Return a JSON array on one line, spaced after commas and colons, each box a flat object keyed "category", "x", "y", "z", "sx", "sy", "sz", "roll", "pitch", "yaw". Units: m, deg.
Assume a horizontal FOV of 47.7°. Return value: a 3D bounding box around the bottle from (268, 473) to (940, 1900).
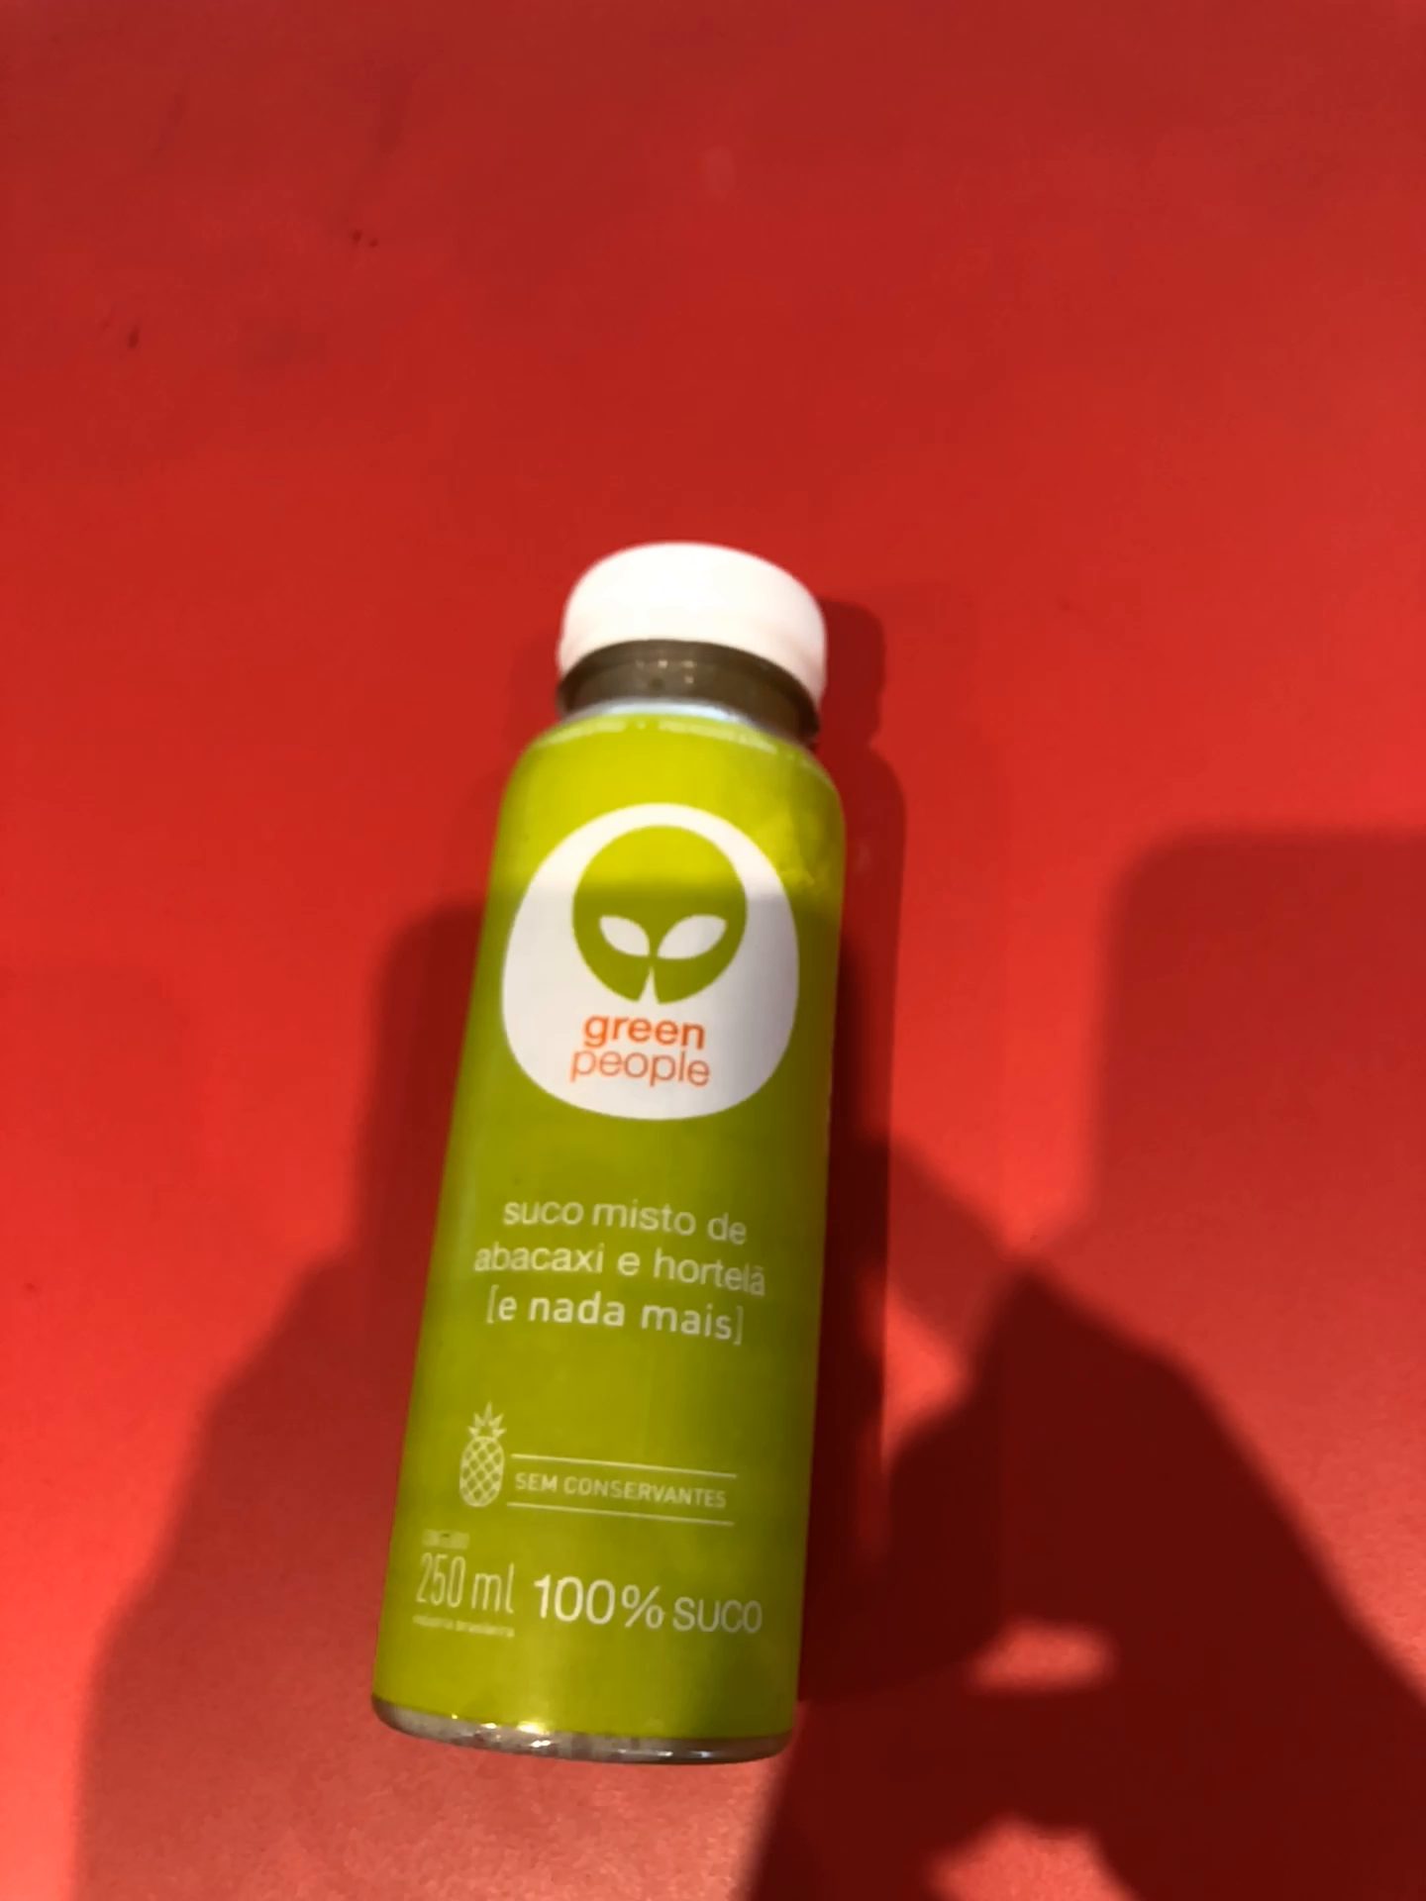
[{"category": "bottle", "x": -0.010, "y": 0.028, "z": 0.218, "sx": 0.060, "sy": 0.050, "sz": 0.170, "roll": 6, "pitch": 76, "yaw": 0}]
